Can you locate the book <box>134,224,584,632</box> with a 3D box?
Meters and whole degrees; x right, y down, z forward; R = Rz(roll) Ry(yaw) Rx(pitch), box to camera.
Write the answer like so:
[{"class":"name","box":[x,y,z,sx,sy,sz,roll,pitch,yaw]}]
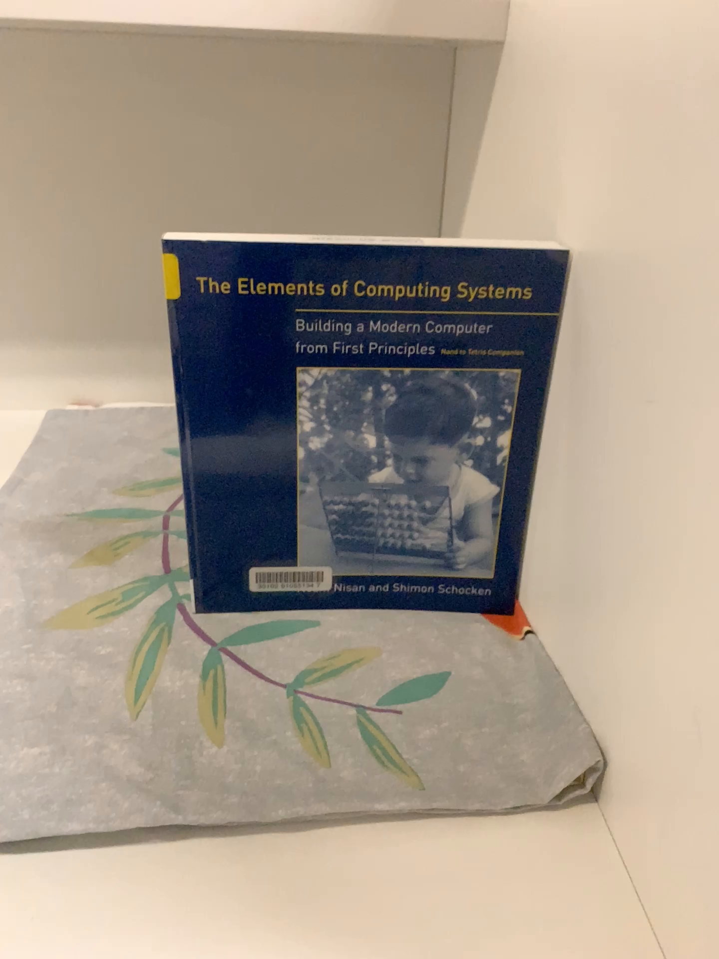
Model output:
[{"class":"book","box":[-0.003,-0.018,0.430,0.220,0.238,0.030,0,27,-4]}]
